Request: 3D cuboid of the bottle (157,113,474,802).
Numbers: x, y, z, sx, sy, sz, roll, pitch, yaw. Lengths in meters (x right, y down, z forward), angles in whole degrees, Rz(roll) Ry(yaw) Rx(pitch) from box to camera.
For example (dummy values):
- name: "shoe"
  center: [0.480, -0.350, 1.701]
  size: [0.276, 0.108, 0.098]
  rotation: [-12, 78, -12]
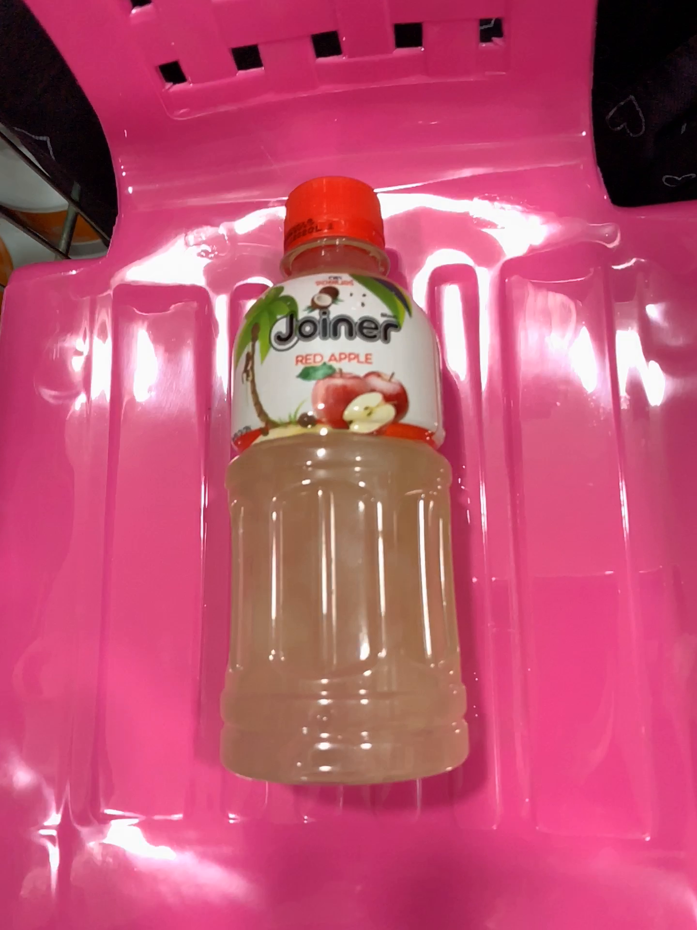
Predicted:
- name: "bottle"
  center: [-0.007, -0.002, 0.193]
  size: [0.070, 0.050, 0.160]
  rotation: [-3, 80, 8]
